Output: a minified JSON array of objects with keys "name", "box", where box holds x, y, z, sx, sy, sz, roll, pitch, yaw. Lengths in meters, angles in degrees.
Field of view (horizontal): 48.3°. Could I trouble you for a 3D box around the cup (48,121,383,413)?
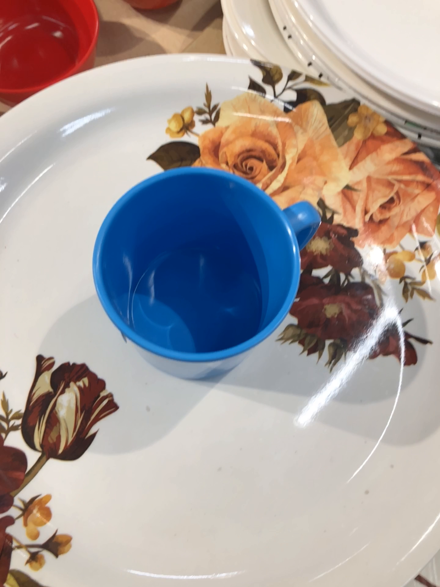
[{"name":"cup","box":[-0.004,-0.005,0.240,0.110,0.090,0.080,-26,78,-9]}]
